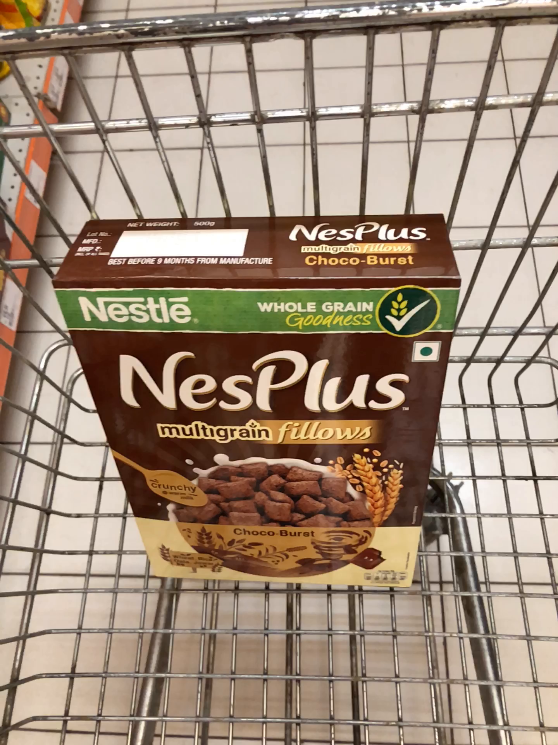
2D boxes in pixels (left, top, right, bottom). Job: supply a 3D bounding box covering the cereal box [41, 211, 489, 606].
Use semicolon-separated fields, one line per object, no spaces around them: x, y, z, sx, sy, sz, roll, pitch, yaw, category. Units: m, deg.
0.001;0.040;0.368;0.190;0.259;0.060;1;41;6;cereal box
